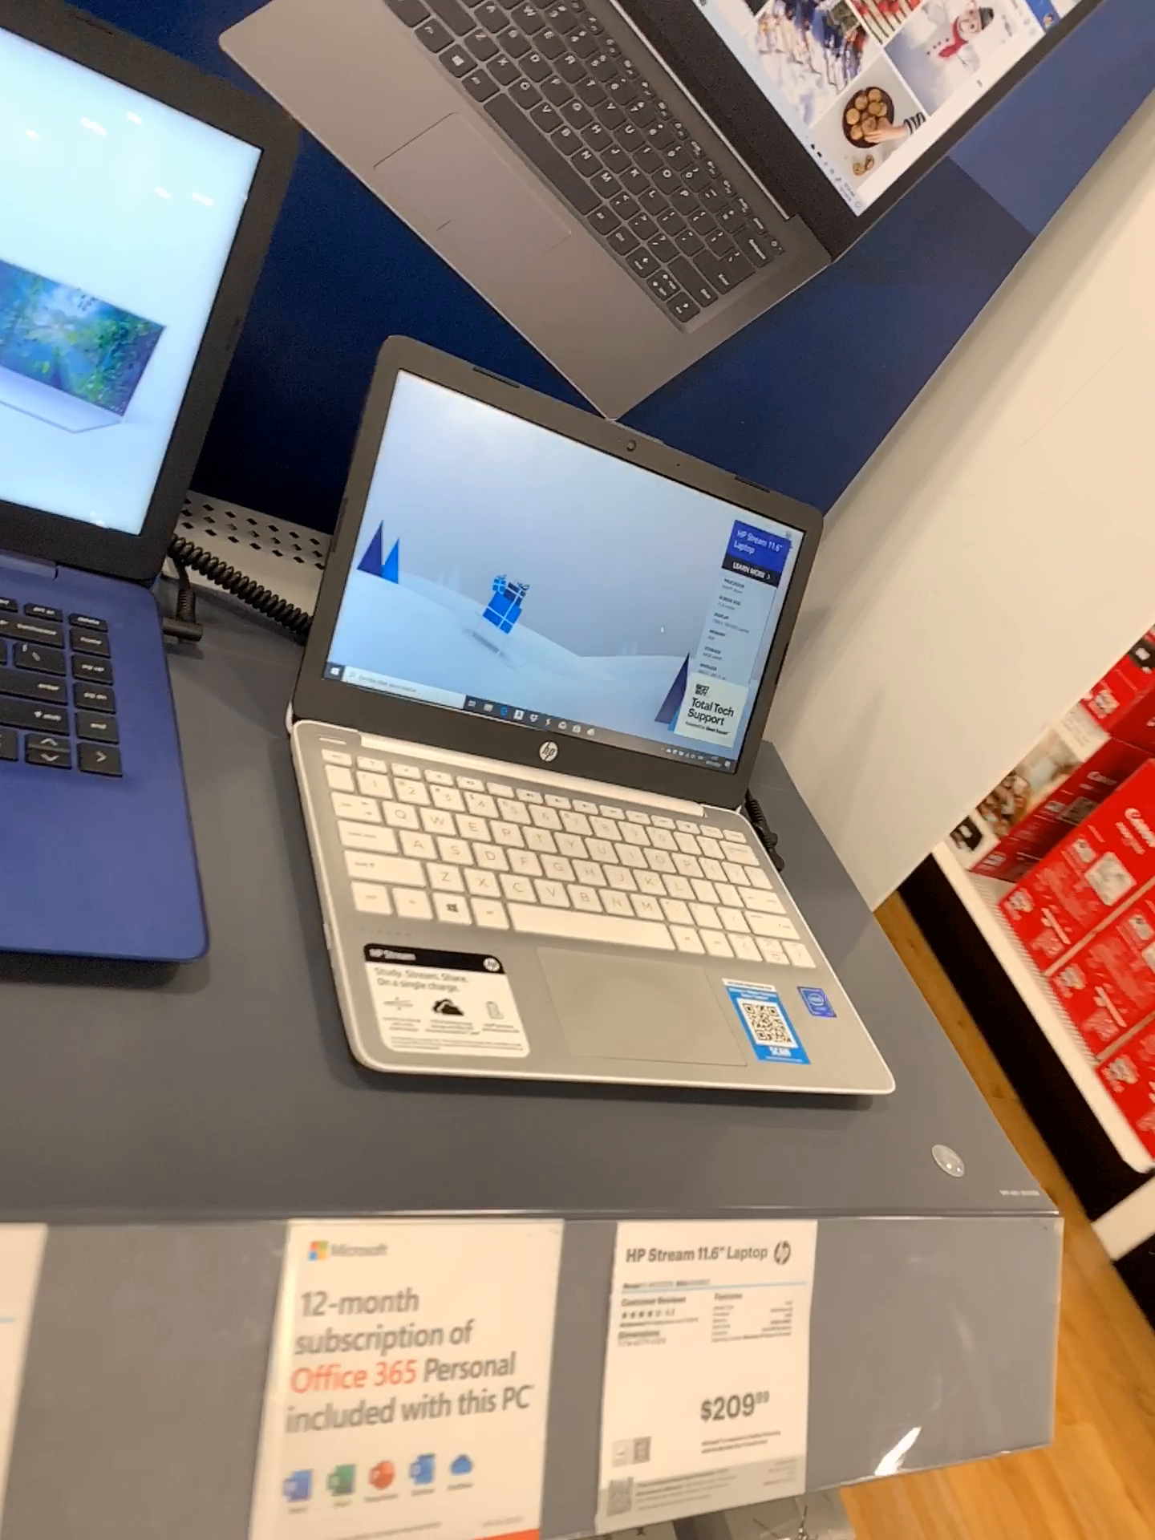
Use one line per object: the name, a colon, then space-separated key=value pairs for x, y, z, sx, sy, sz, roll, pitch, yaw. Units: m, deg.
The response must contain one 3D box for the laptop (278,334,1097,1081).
laptop: x=0.034 y=-0.021 z=0.542 sx=0.267 sy=0.144 sz=0.275 roll=13 pitch=37 yaw=-35
